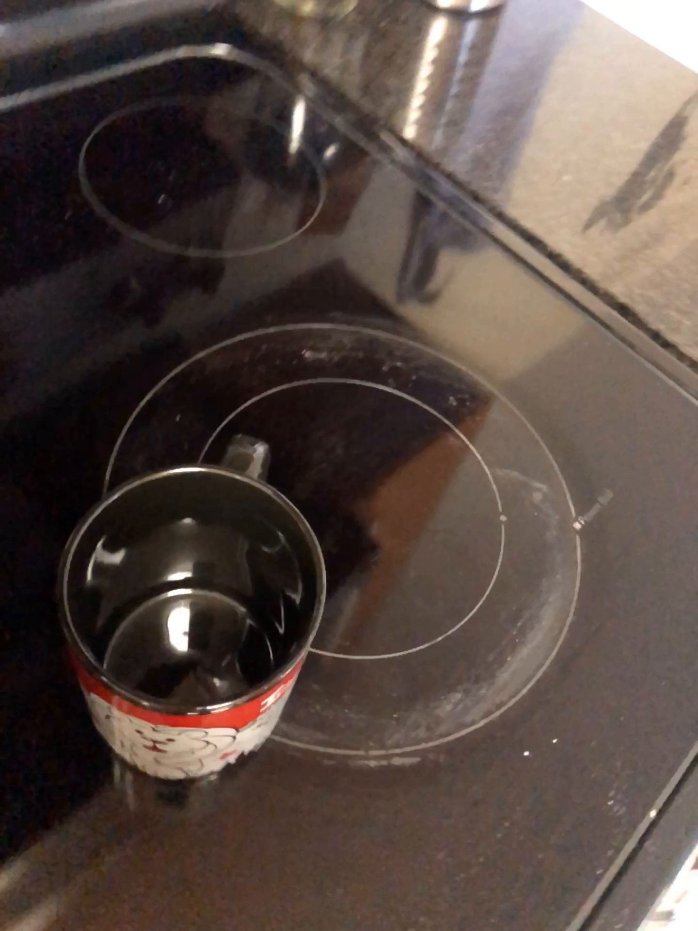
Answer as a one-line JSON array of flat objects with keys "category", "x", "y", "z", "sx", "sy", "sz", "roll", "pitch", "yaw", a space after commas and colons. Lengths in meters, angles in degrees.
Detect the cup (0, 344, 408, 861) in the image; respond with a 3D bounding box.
[{"category": "cup", "x": -0.050, "y": 0.047, "z": 0.273, "sx": 0.090, "sy": 0.090, "sz": 0.130, "roll": 21, "pitch": 54, "yaw": 1}]
